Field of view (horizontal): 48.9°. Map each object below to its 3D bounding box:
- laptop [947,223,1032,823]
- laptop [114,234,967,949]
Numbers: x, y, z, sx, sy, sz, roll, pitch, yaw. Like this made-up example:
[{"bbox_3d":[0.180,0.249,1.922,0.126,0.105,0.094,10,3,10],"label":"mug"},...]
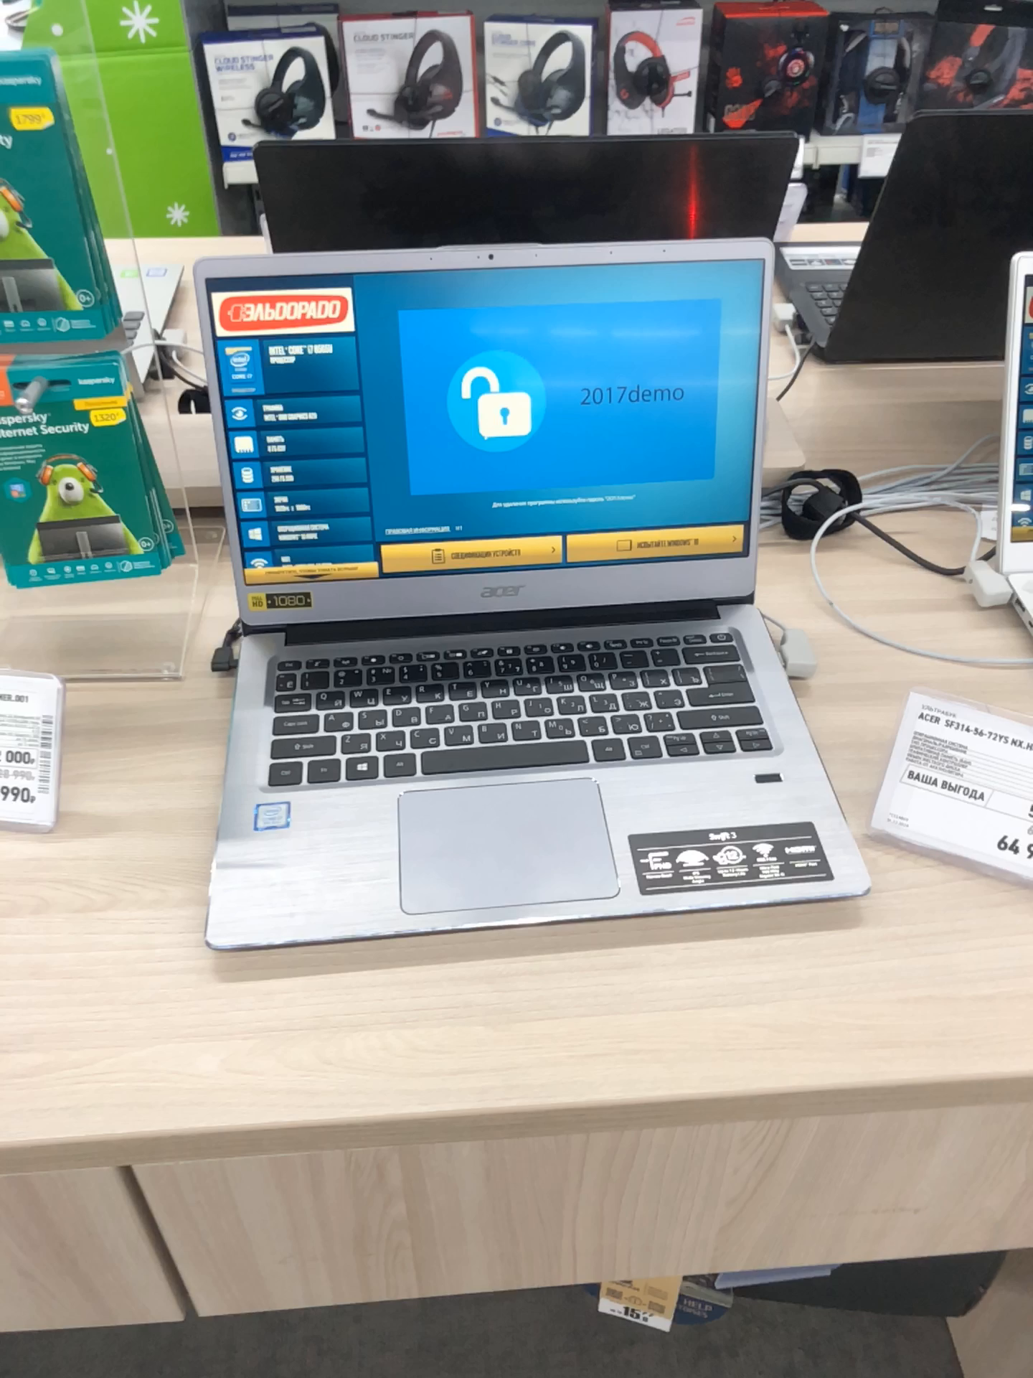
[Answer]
[{"bbox_3d":[0.478,-0.115,0.664,0.305,0.164,0.323,-3,45,-4],"label":"laptop"},{"bbox_3d":[-0.001,-0.068,0.590,0.315,0.197,0.304,-4,44,-5],"label":"laptop"}]
